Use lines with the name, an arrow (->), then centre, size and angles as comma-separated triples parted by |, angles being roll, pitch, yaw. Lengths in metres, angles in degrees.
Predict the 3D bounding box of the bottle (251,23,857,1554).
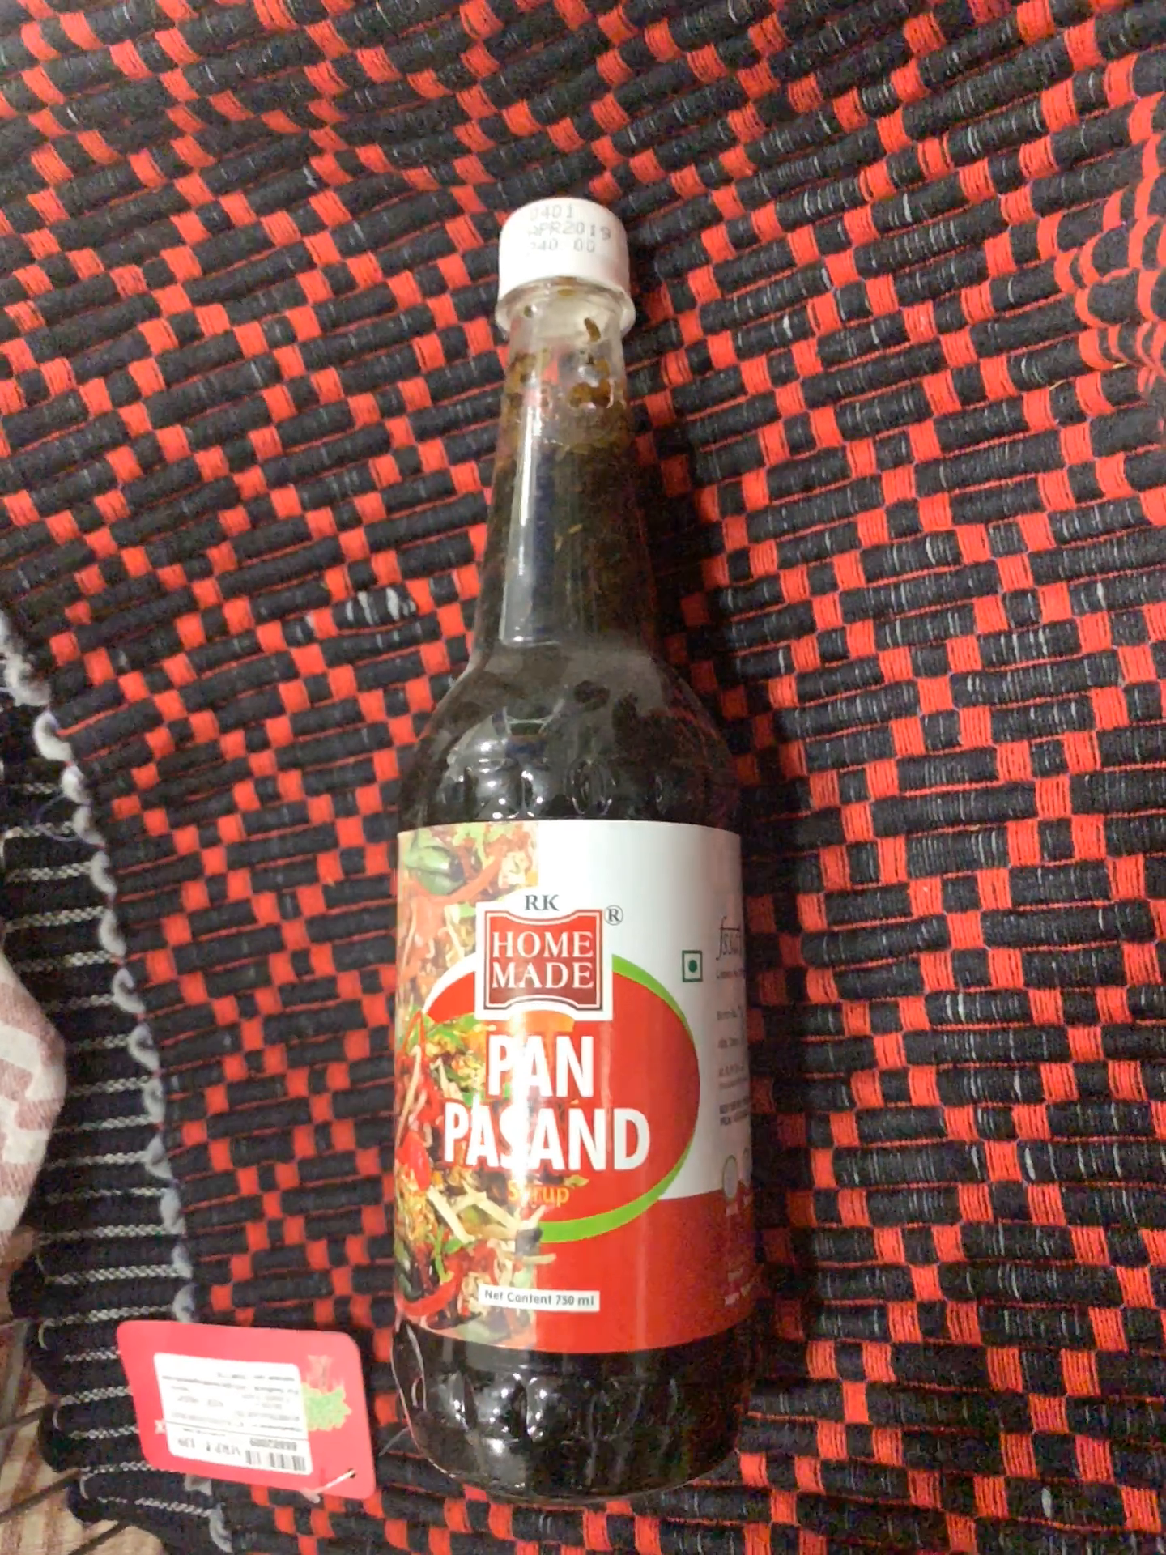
bottle -> 0.004, -0.005, 0.270 | 0.090, 0.080, 0.280 | -5, 74, 29
